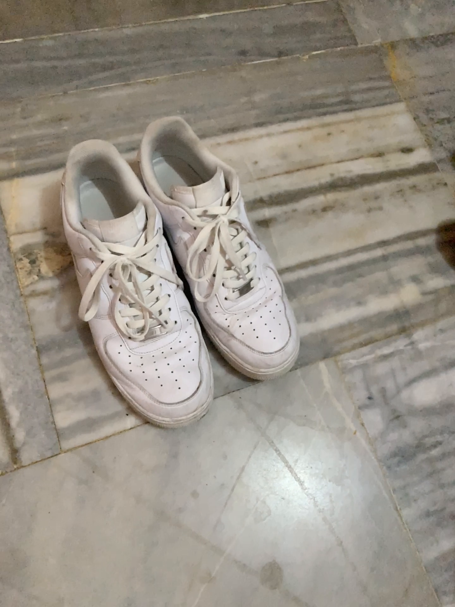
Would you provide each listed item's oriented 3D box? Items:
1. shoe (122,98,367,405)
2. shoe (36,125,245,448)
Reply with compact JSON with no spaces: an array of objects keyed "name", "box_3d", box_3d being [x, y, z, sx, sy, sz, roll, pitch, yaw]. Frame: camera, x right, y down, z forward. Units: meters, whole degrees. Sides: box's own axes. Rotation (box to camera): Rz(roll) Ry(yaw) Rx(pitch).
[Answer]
[{"name":"shoe","box_3d":[0.003,-0.056,0.532,0.110,0.120,0.310,-27,78,-18]},{"name":"shoe","box_3d":[-0.100,-0.017,0.508,0.110,0.120,0.310,-17,75,-16]}]
